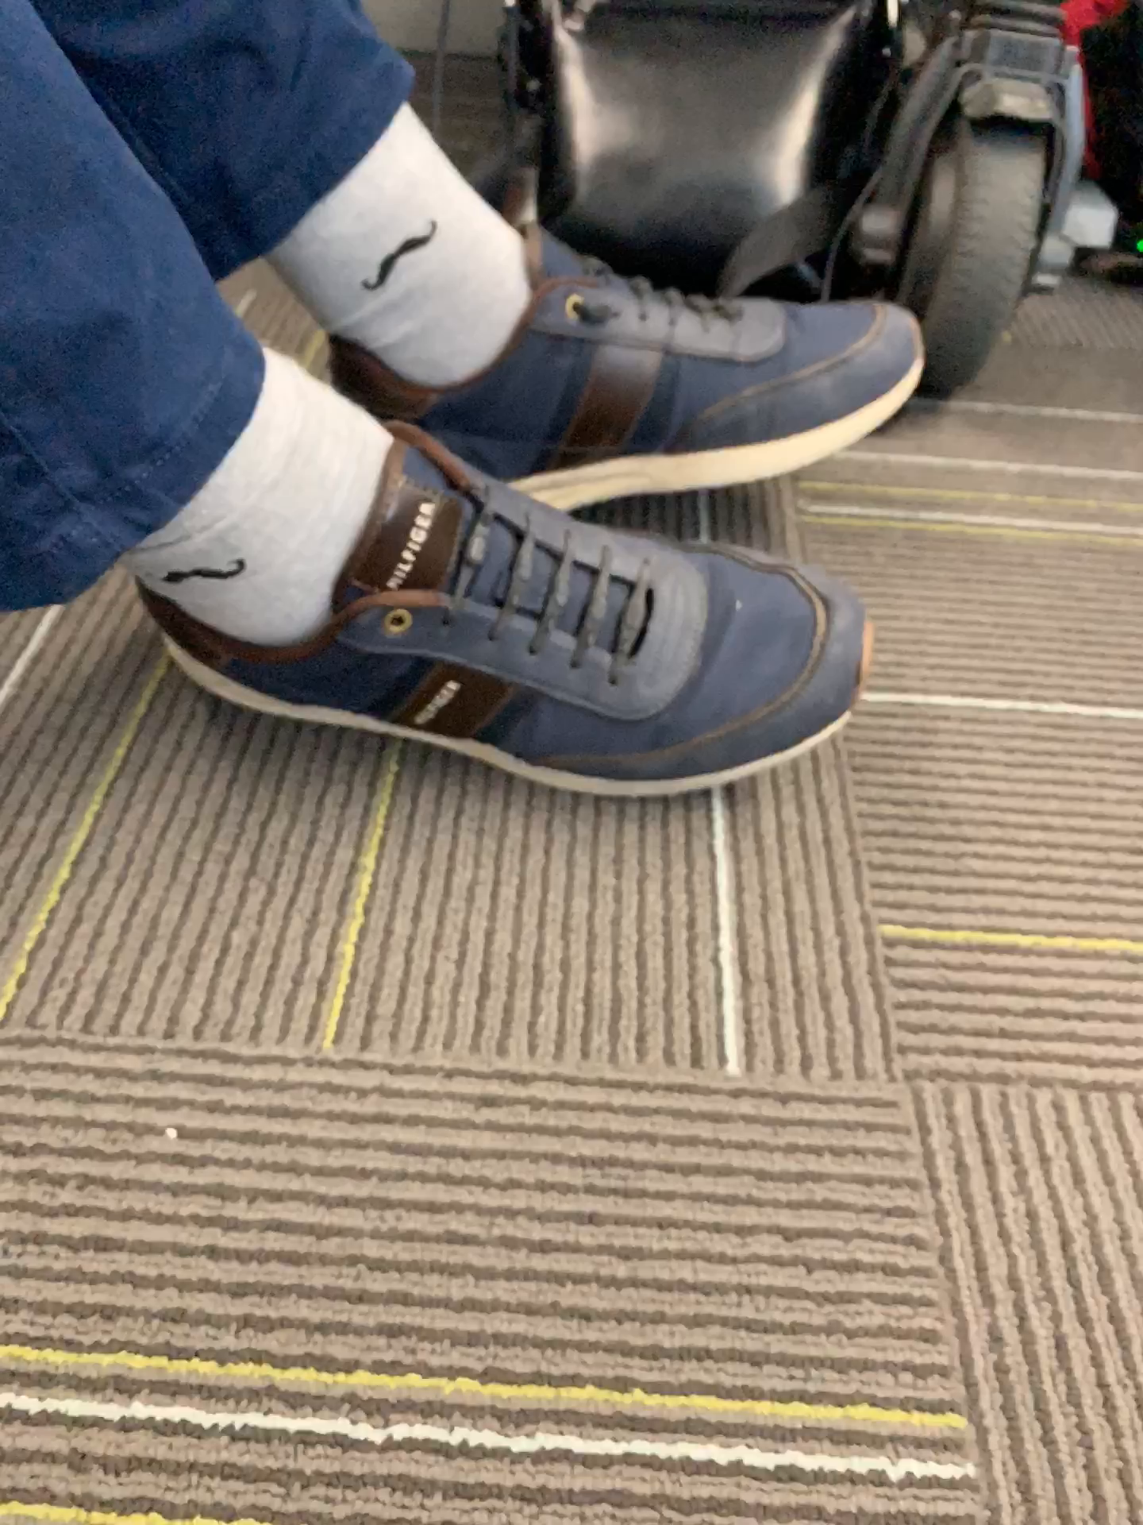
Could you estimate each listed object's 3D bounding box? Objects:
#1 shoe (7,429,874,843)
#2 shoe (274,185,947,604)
[{"bbox_3d":[-0.047,-0.051,0.483,0.320,0.100,0.120,3,71,17],"label":"shoe"},{"bbox_3d":[0.019,-0.185,0.597,0.300,0.099,0.121,-11,44,4],"label":"shoe"}]
